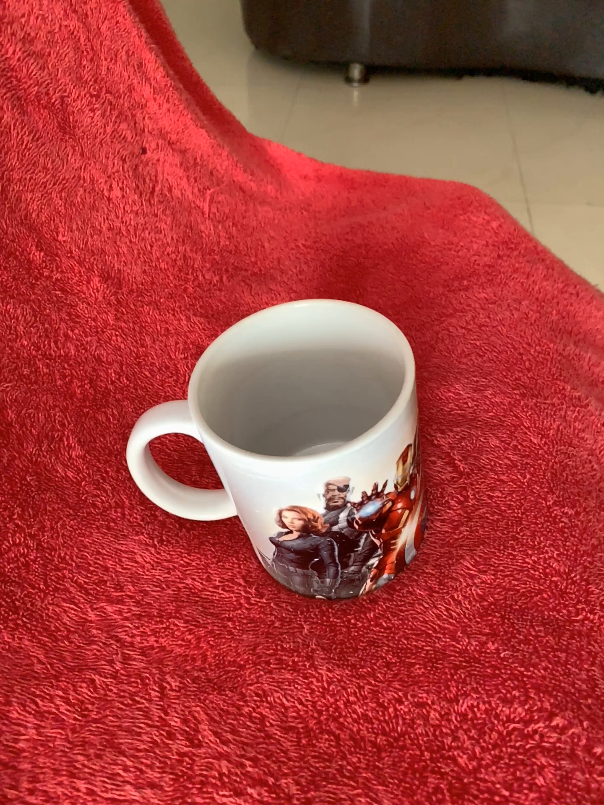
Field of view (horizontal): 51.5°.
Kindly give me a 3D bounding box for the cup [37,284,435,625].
[{"bbox_3d":[-0.011,0.020,0.245,0.120,0.089,0.091,-1,43,10],"label":"cup"}]
